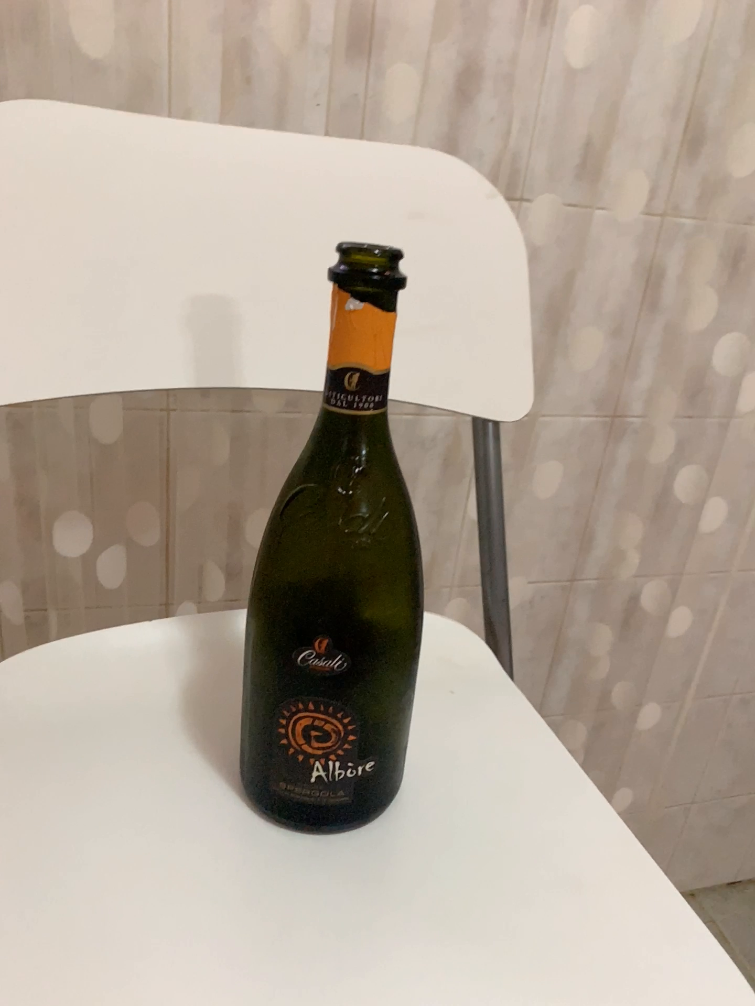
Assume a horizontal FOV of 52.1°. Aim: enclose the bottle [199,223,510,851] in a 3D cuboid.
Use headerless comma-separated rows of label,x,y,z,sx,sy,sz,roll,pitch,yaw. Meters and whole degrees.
bottle,-0.017,0.021,0.361,0.101,0.269,0.093,6,25,-3
